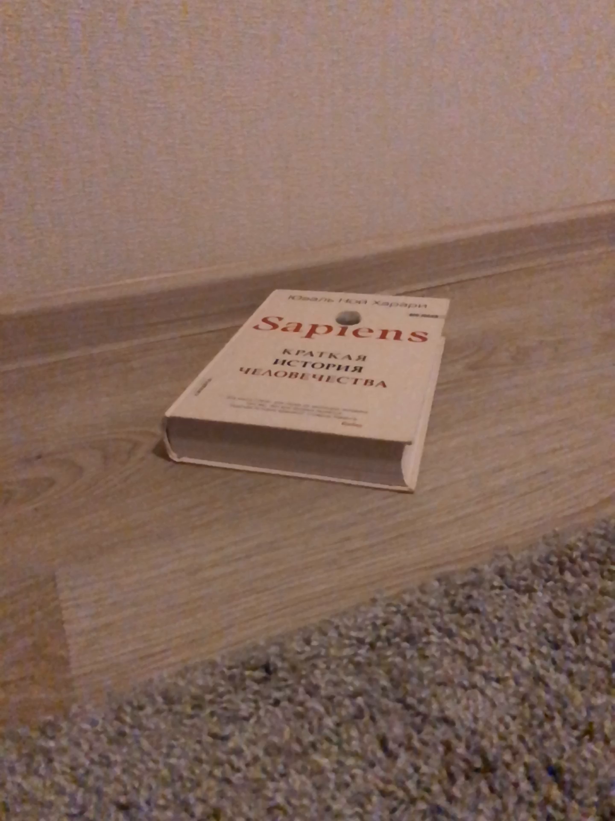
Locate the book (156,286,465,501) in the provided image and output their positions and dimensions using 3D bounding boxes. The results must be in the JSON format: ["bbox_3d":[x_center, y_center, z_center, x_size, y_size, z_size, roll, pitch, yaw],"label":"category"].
[{"bbox_3d":[0.023,-0.033,0.545,0.186,0.040,0.260,6,31,14],"label":"book"}]
